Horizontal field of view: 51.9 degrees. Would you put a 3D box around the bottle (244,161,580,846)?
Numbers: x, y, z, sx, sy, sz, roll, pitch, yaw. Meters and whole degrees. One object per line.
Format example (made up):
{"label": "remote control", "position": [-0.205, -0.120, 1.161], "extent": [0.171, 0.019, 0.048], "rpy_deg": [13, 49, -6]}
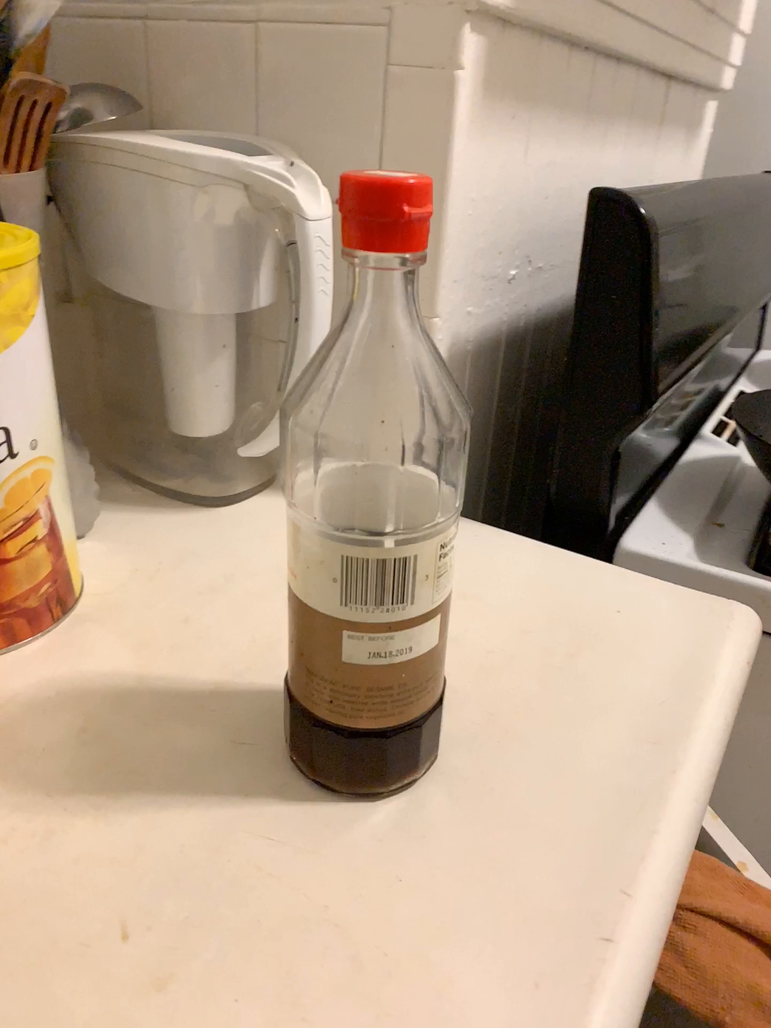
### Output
{"label": "bottle", "position": [0.006, -0.001, 0.332], "extent": [0.090, 0.259, 0.090], "rpy_deg": [3, 27, -2]}
